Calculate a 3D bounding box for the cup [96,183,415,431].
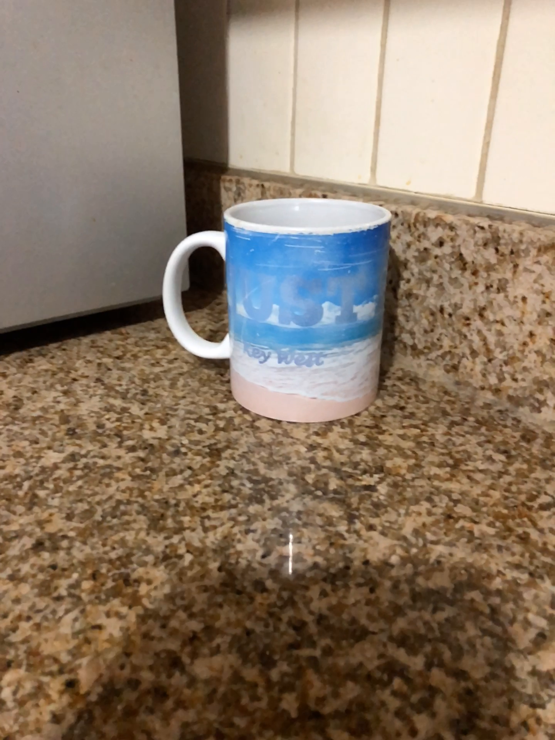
[{"bbox_3d":[-0.006,-0.040,0.313,0.130,0.090,0.090,8,24,16],"label":"cup"}]
